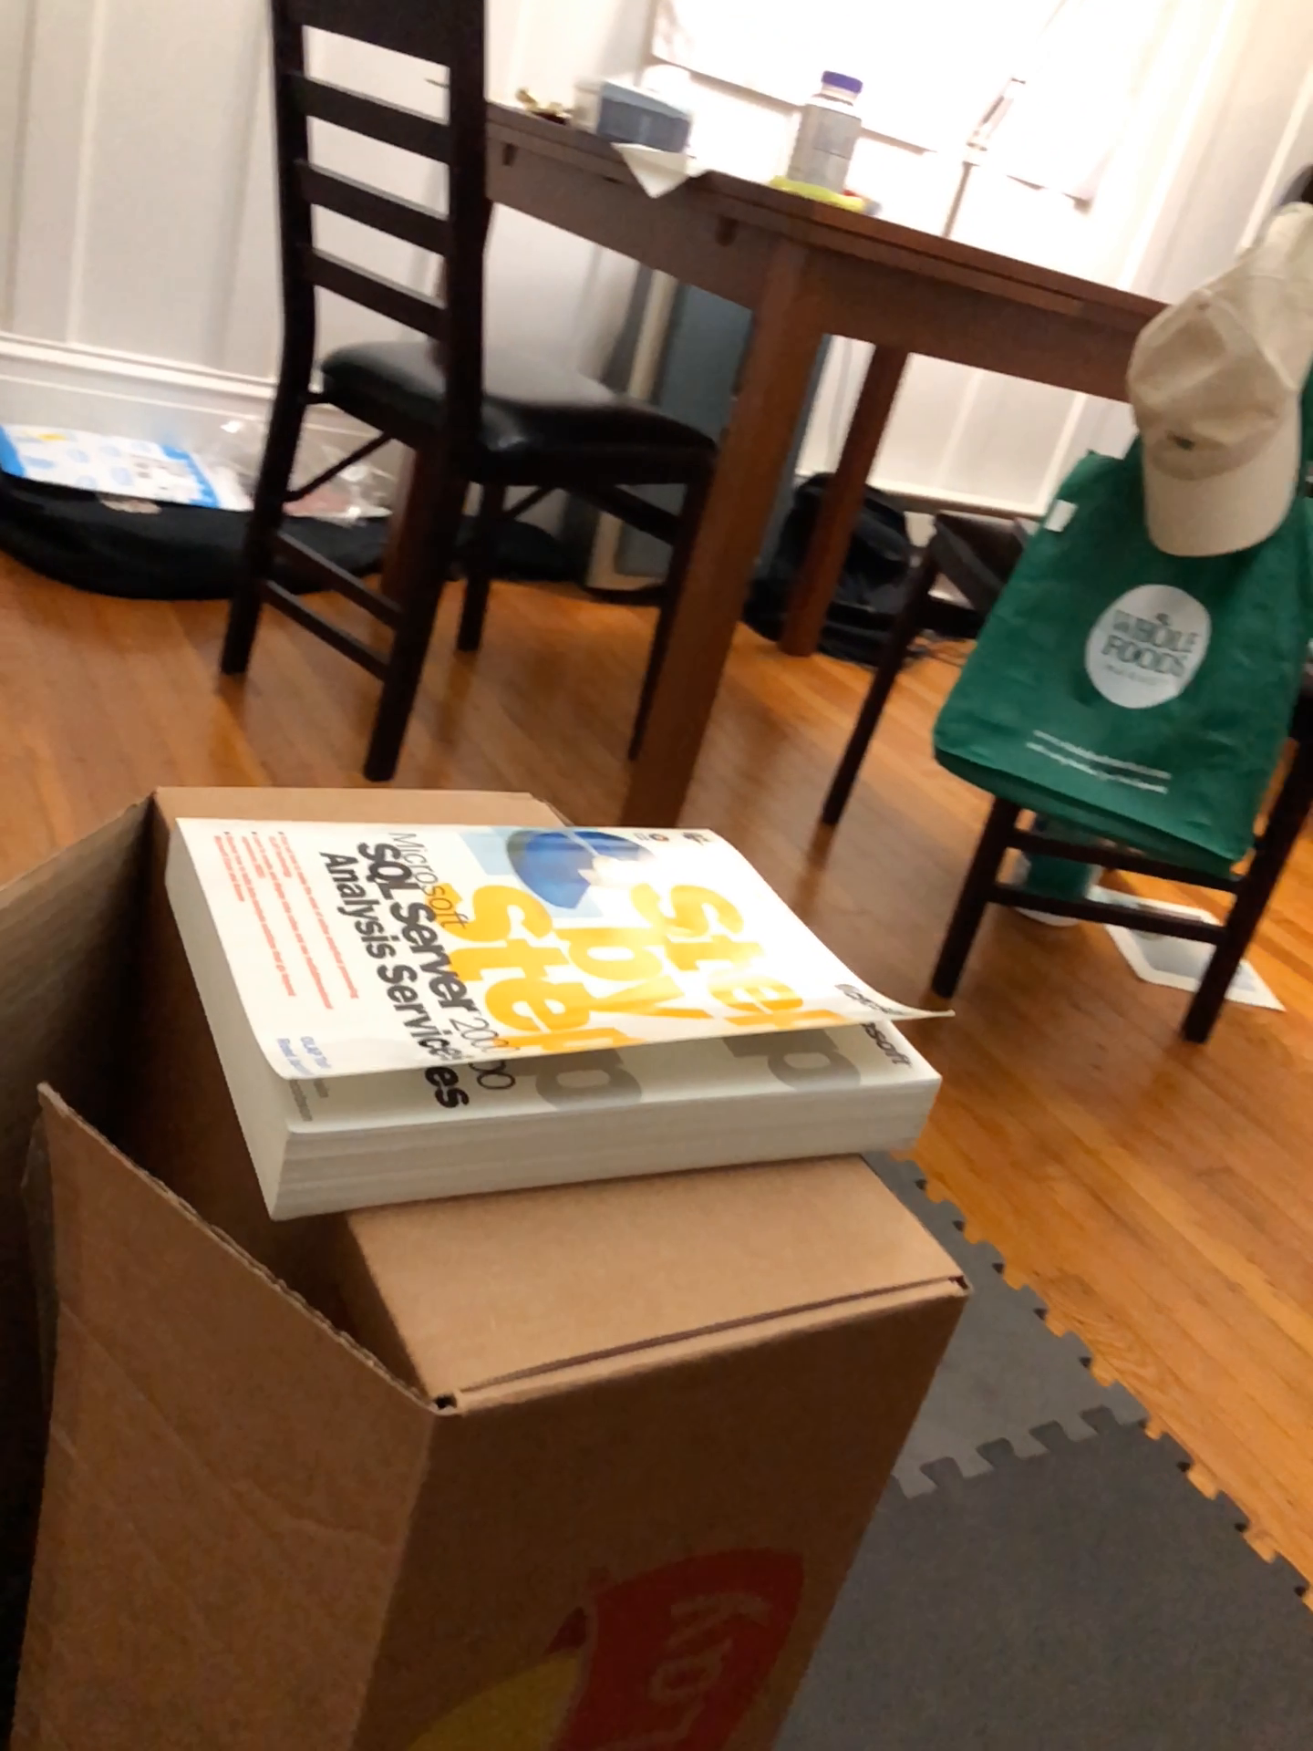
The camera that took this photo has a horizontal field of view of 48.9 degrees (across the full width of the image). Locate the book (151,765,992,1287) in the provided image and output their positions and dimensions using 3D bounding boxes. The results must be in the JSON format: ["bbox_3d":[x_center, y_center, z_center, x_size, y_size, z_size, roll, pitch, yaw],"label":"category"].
[{"bbox_3d":[-0.036,0.033,0.529,0.241,0.050,0.201,-4,35,-33],"label":"book"}]
